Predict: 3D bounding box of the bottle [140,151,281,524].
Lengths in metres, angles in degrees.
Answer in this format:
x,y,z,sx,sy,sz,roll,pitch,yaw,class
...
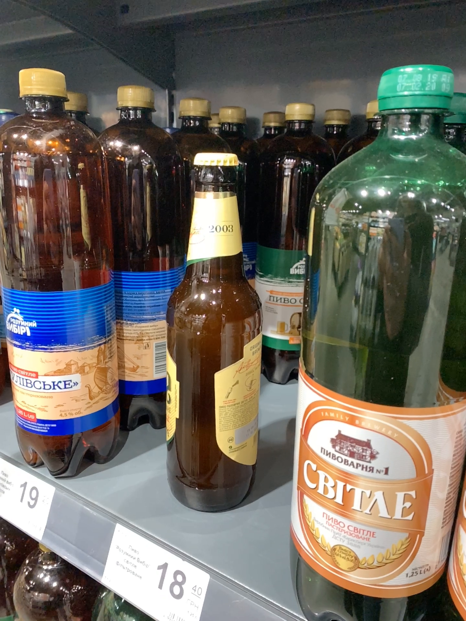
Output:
x,y,z,sx,sy,sz,roll,pitch,yaw,class
-0.013,0.017,0.346,0.070,0.248,0.068,1,17,0,bottle

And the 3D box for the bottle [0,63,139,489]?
x,y,z,sx,sy,sz,roll,pitch,yaw,class
-0.132,-0.020,0.362,0.084,0.284,0.070,8,18,24,bottle

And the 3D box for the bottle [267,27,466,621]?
x,y,z,sx,sy,sz,roll,pitch,yaw,class
0.075,0.030,0.237,0.084,0.278,0.070,11,20,32,bottle
